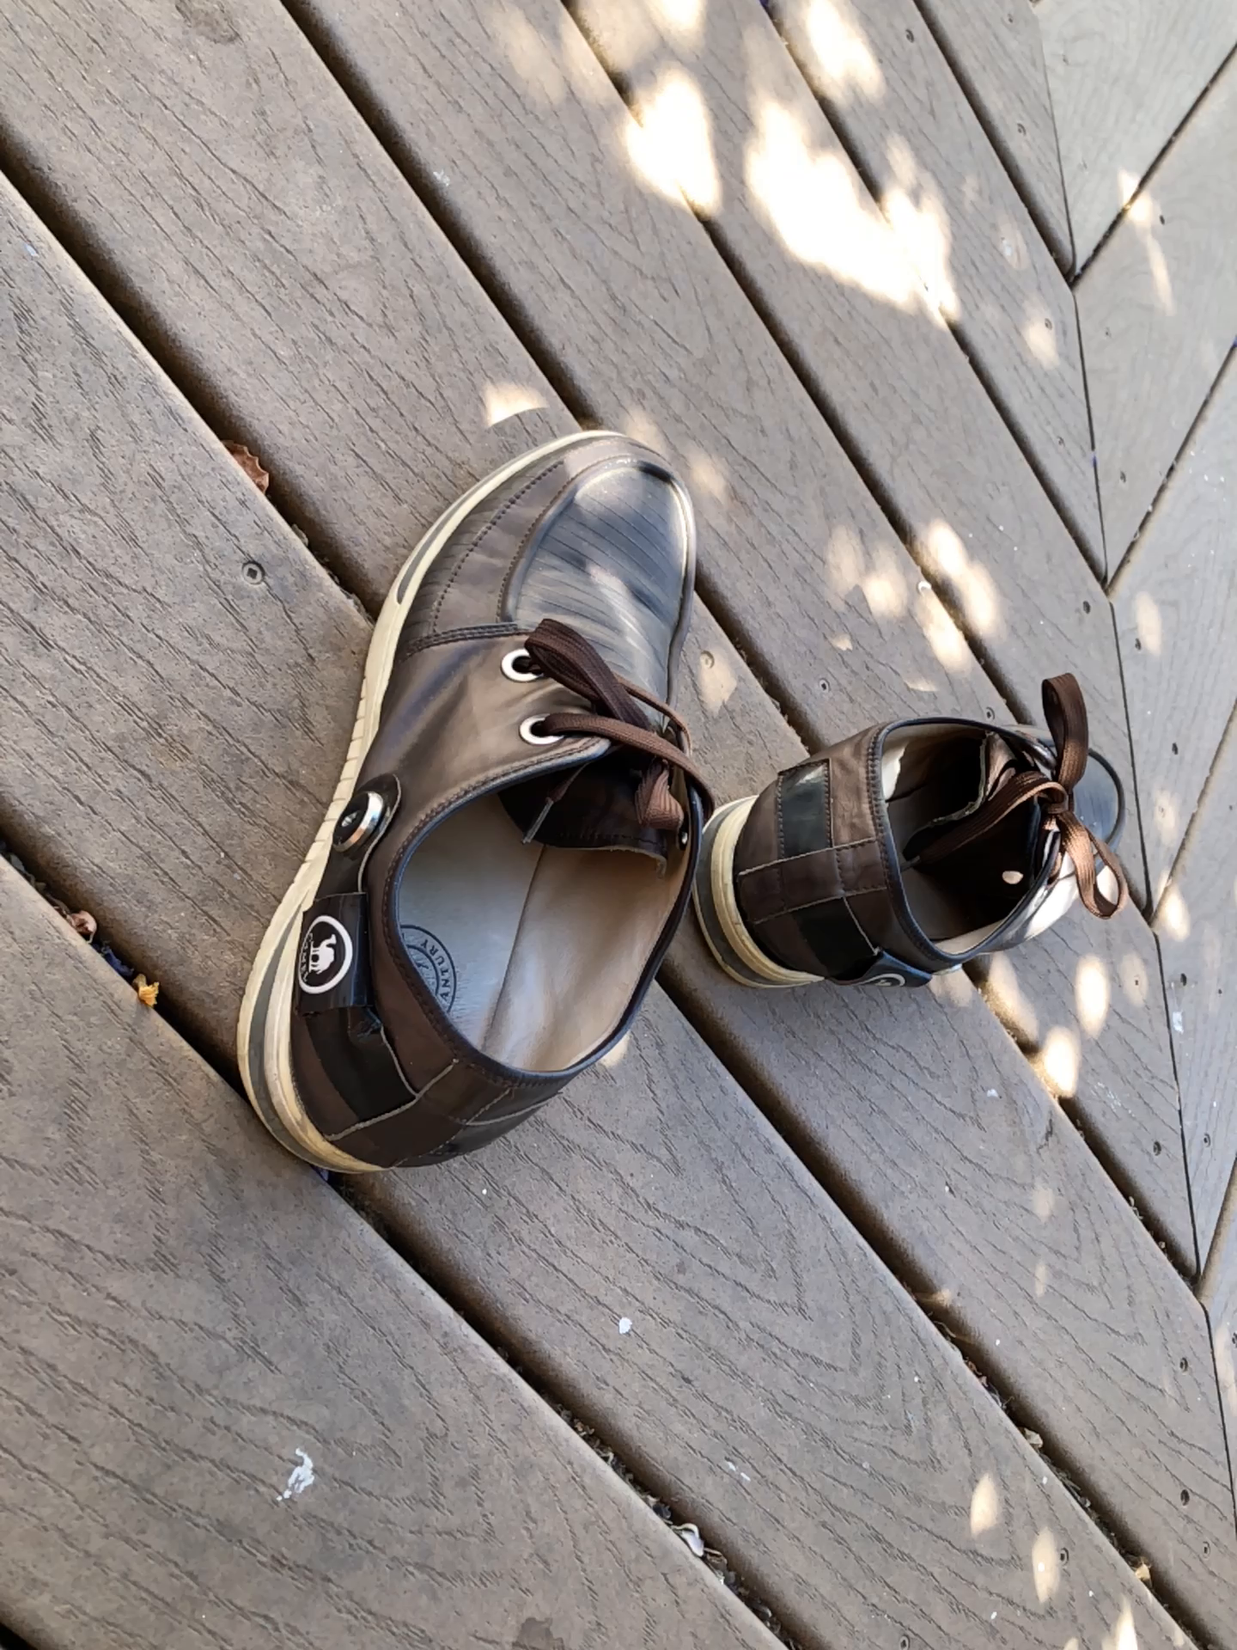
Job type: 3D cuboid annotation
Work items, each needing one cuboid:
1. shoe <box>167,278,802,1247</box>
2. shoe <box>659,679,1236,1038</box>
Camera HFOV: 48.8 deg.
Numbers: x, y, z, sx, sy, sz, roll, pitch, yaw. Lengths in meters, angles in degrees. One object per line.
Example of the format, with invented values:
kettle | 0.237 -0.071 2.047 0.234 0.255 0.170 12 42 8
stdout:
shoe | -0.028 -0.024 0.443 0.111 0.069 0.286 32 60 -32
shoe | 0.164 0.006 0.592 0.287 0.099 0.110 -7 84 -42
